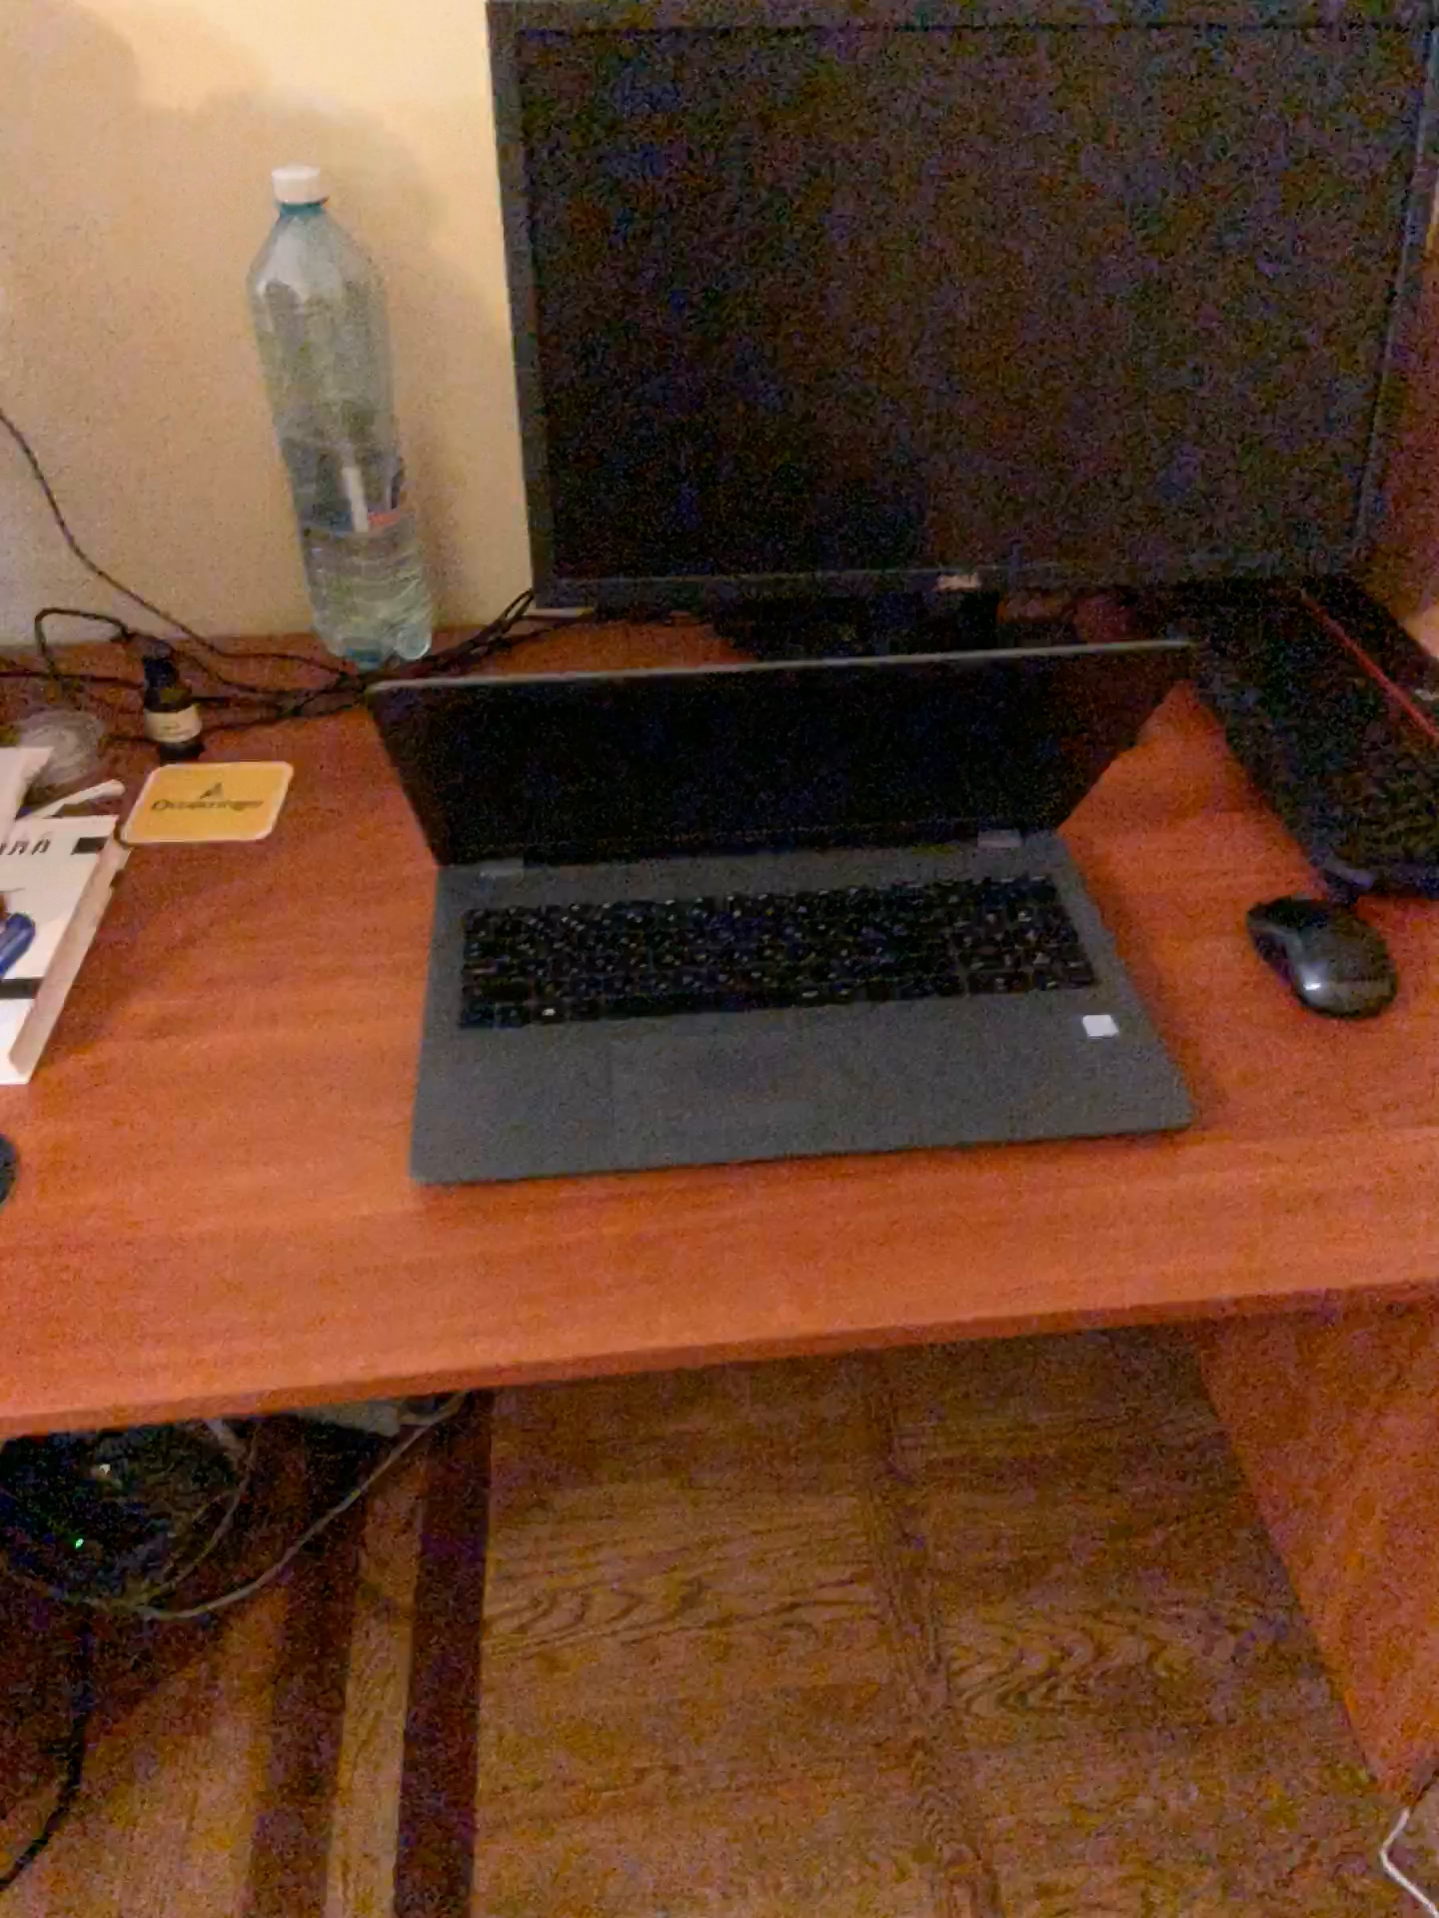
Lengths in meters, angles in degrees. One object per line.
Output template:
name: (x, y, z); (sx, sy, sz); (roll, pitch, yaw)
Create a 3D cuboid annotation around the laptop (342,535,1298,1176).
laptop: (0.033, -0.063, 0.735); (0.385, 0.193, 0.246); (-4, 39, -3)
